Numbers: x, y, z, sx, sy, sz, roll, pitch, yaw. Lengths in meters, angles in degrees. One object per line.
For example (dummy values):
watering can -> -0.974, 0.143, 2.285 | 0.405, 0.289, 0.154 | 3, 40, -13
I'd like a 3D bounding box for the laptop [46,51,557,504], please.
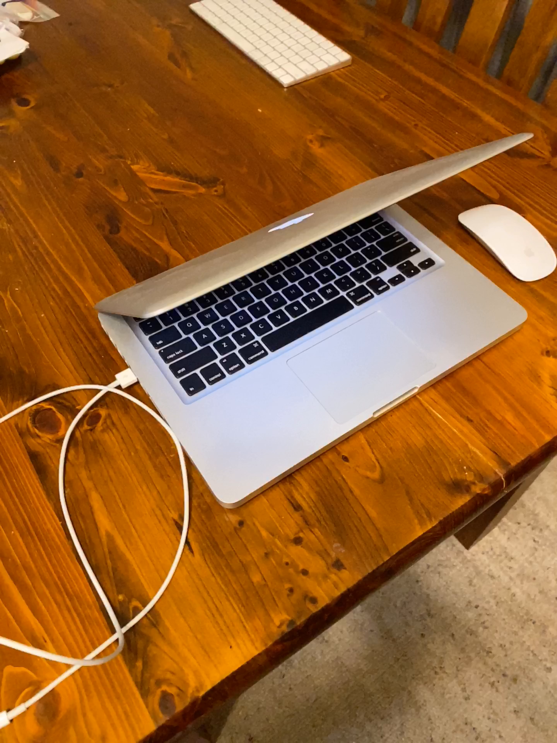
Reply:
laptop -> 0.031, -0.091, 0.442 | 0.311, 0.136, 0.212 | -29, 61, -19
